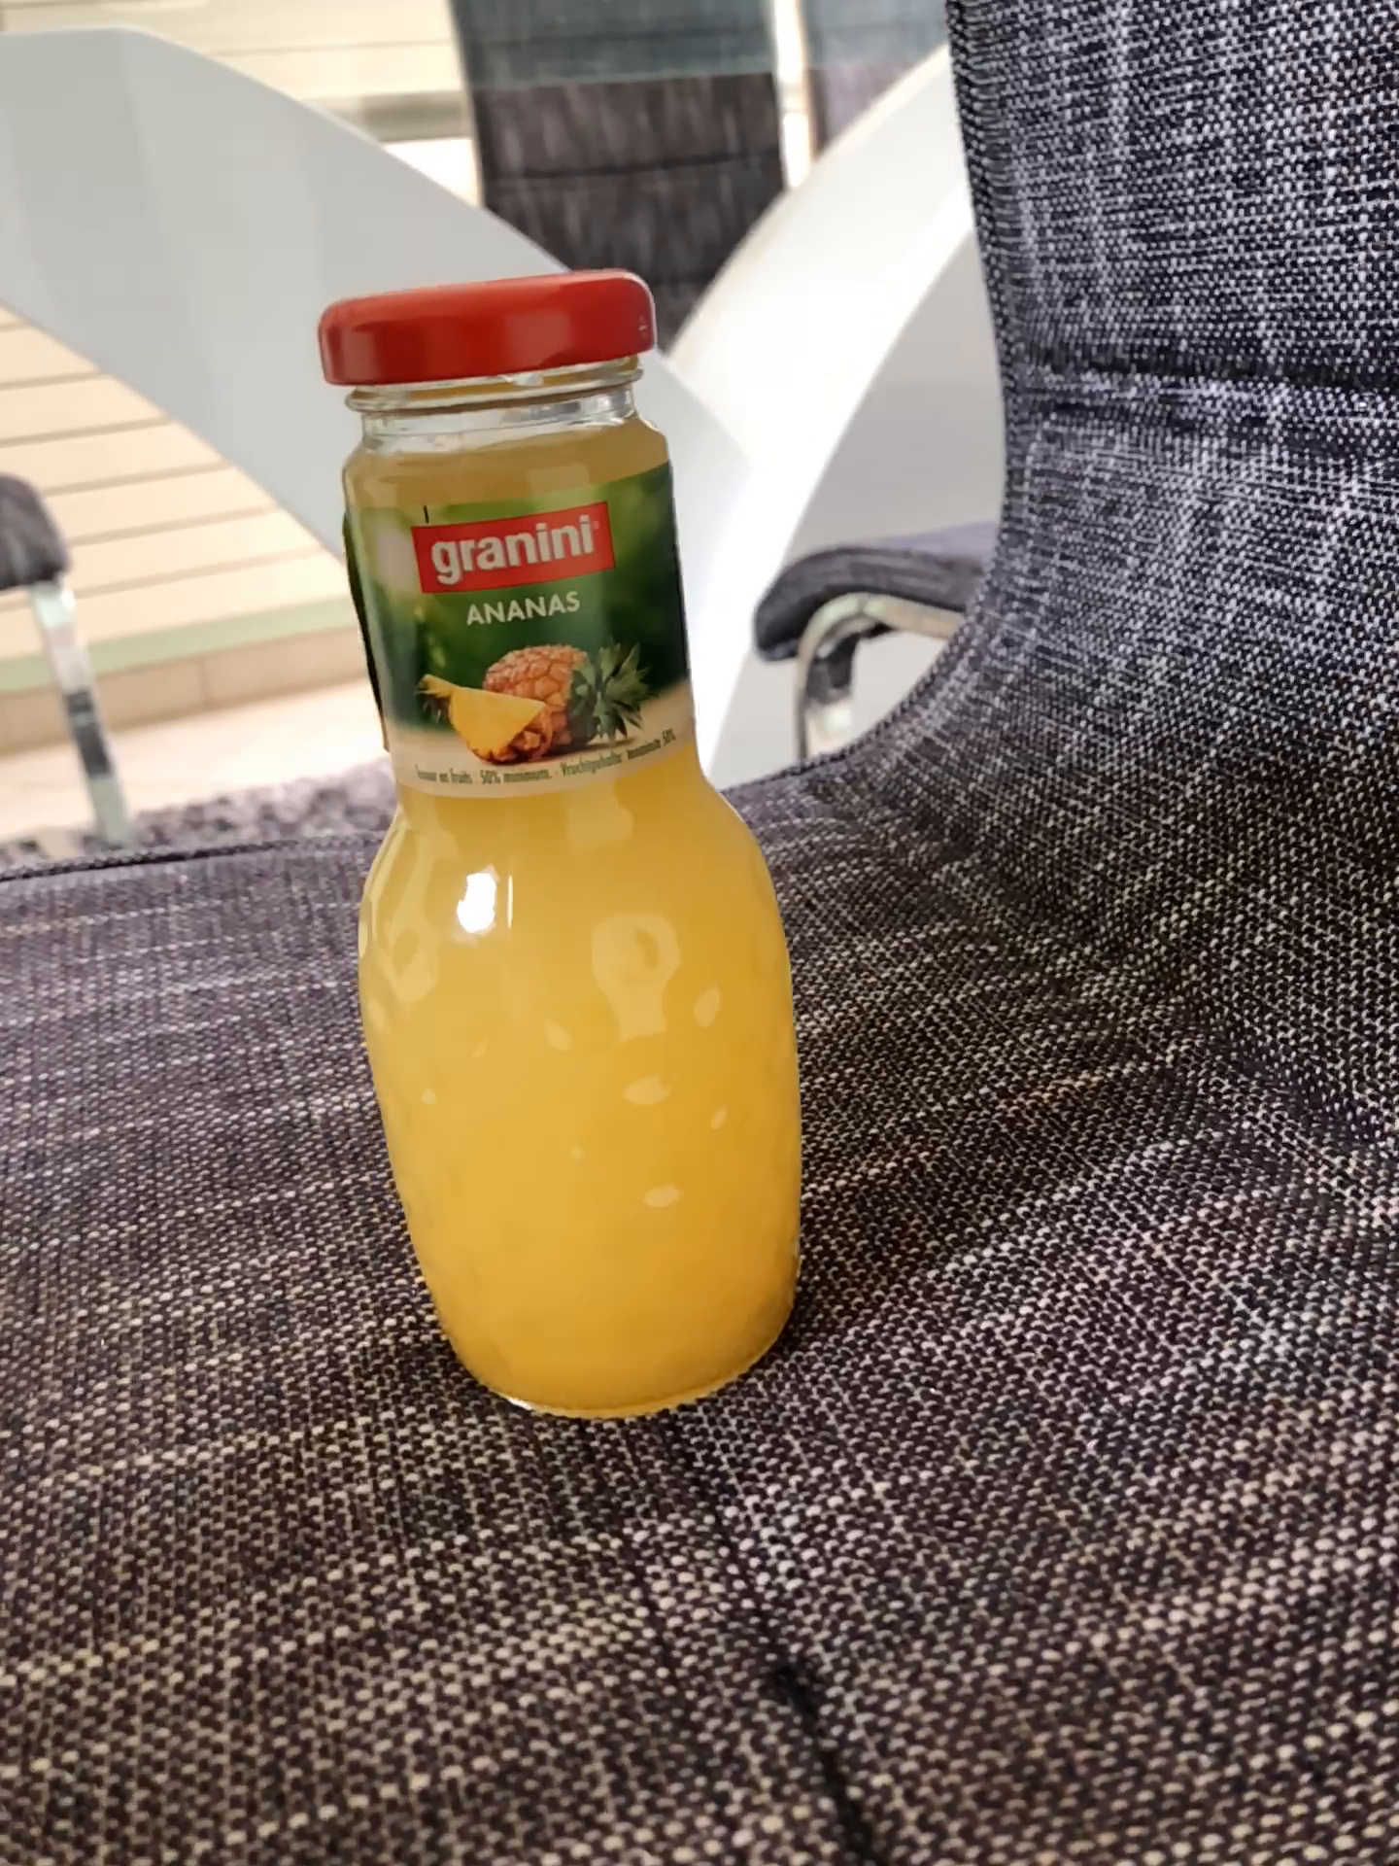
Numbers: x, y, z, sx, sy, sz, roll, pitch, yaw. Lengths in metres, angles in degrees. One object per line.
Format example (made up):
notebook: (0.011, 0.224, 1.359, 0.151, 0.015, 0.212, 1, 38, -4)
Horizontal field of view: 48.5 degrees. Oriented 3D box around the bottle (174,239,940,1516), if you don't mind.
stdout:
bottle: (-0.014, -0.010, 0.214, 0.070, 0.149, 0.070, -5, 23, 2)
